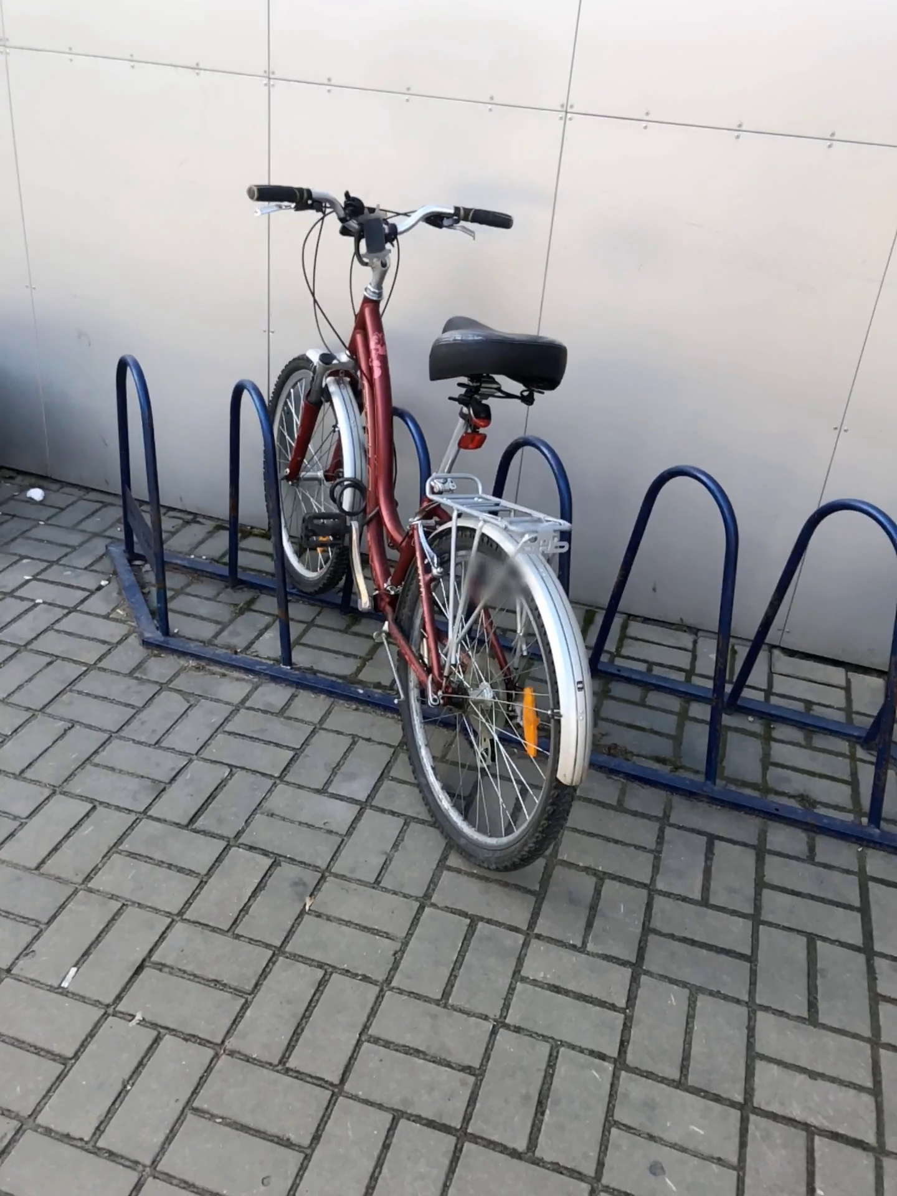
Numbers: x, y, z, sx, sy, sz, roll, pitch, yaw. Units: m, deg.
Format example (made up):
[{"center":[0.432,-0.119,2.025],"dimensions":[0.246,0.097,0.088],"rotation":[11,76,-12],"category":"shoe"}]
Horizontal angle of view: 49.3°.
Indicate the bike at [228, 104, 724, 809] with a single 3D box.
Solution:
[{"center":[-0.078,-0.443,2.225],"dimensions":[0.596,0.972,1.312],"rotation":[-7,35,-22],"category":"bike"}]
